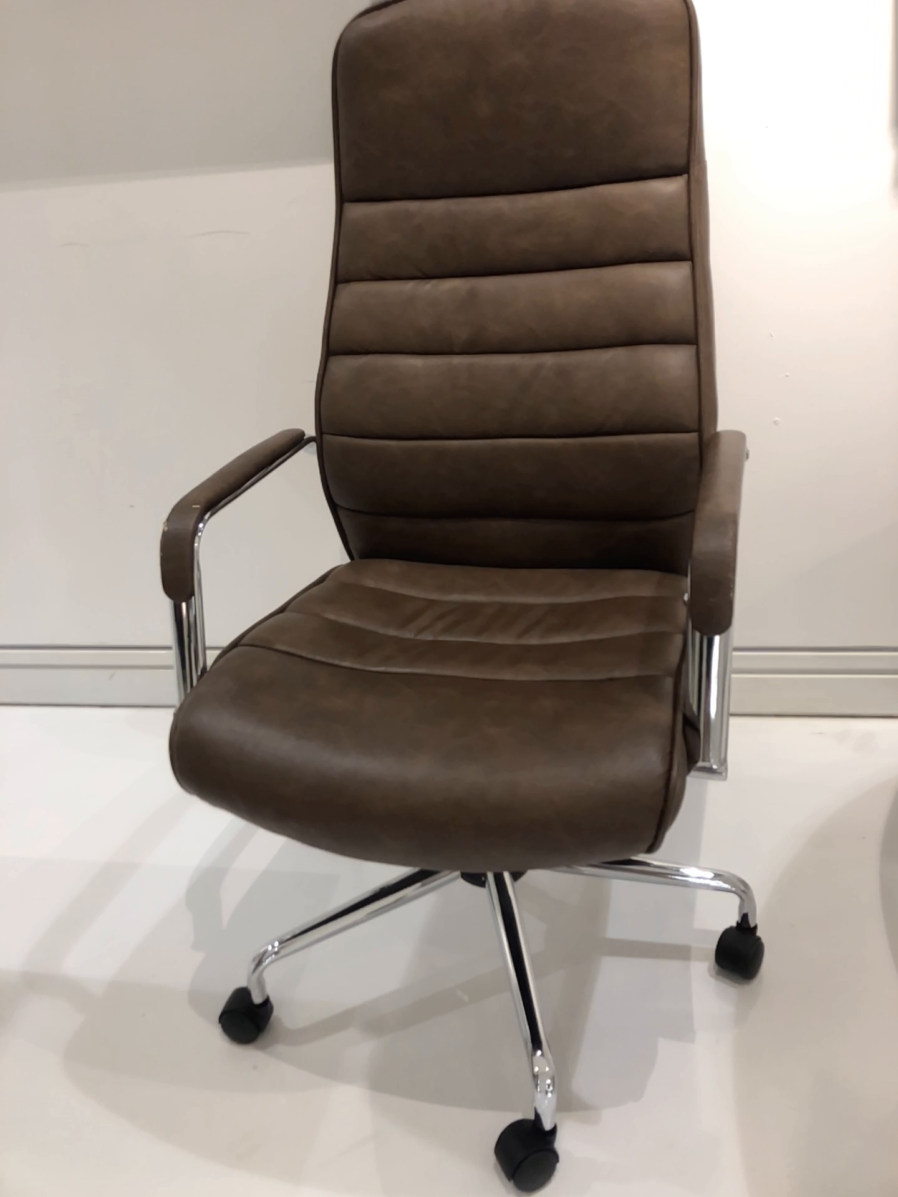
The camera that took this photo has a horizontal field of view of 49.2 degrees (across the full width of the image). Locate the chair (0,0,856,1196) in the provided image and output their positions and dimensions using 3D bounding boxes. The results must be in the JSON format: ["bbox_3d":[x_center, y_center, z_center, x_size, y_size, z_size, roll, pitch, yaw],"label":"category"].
[{"bbox_3d":[0.030,-0.071,1.133,0.700,1.172,0.785,3,26,19],"label":"chair"}]
